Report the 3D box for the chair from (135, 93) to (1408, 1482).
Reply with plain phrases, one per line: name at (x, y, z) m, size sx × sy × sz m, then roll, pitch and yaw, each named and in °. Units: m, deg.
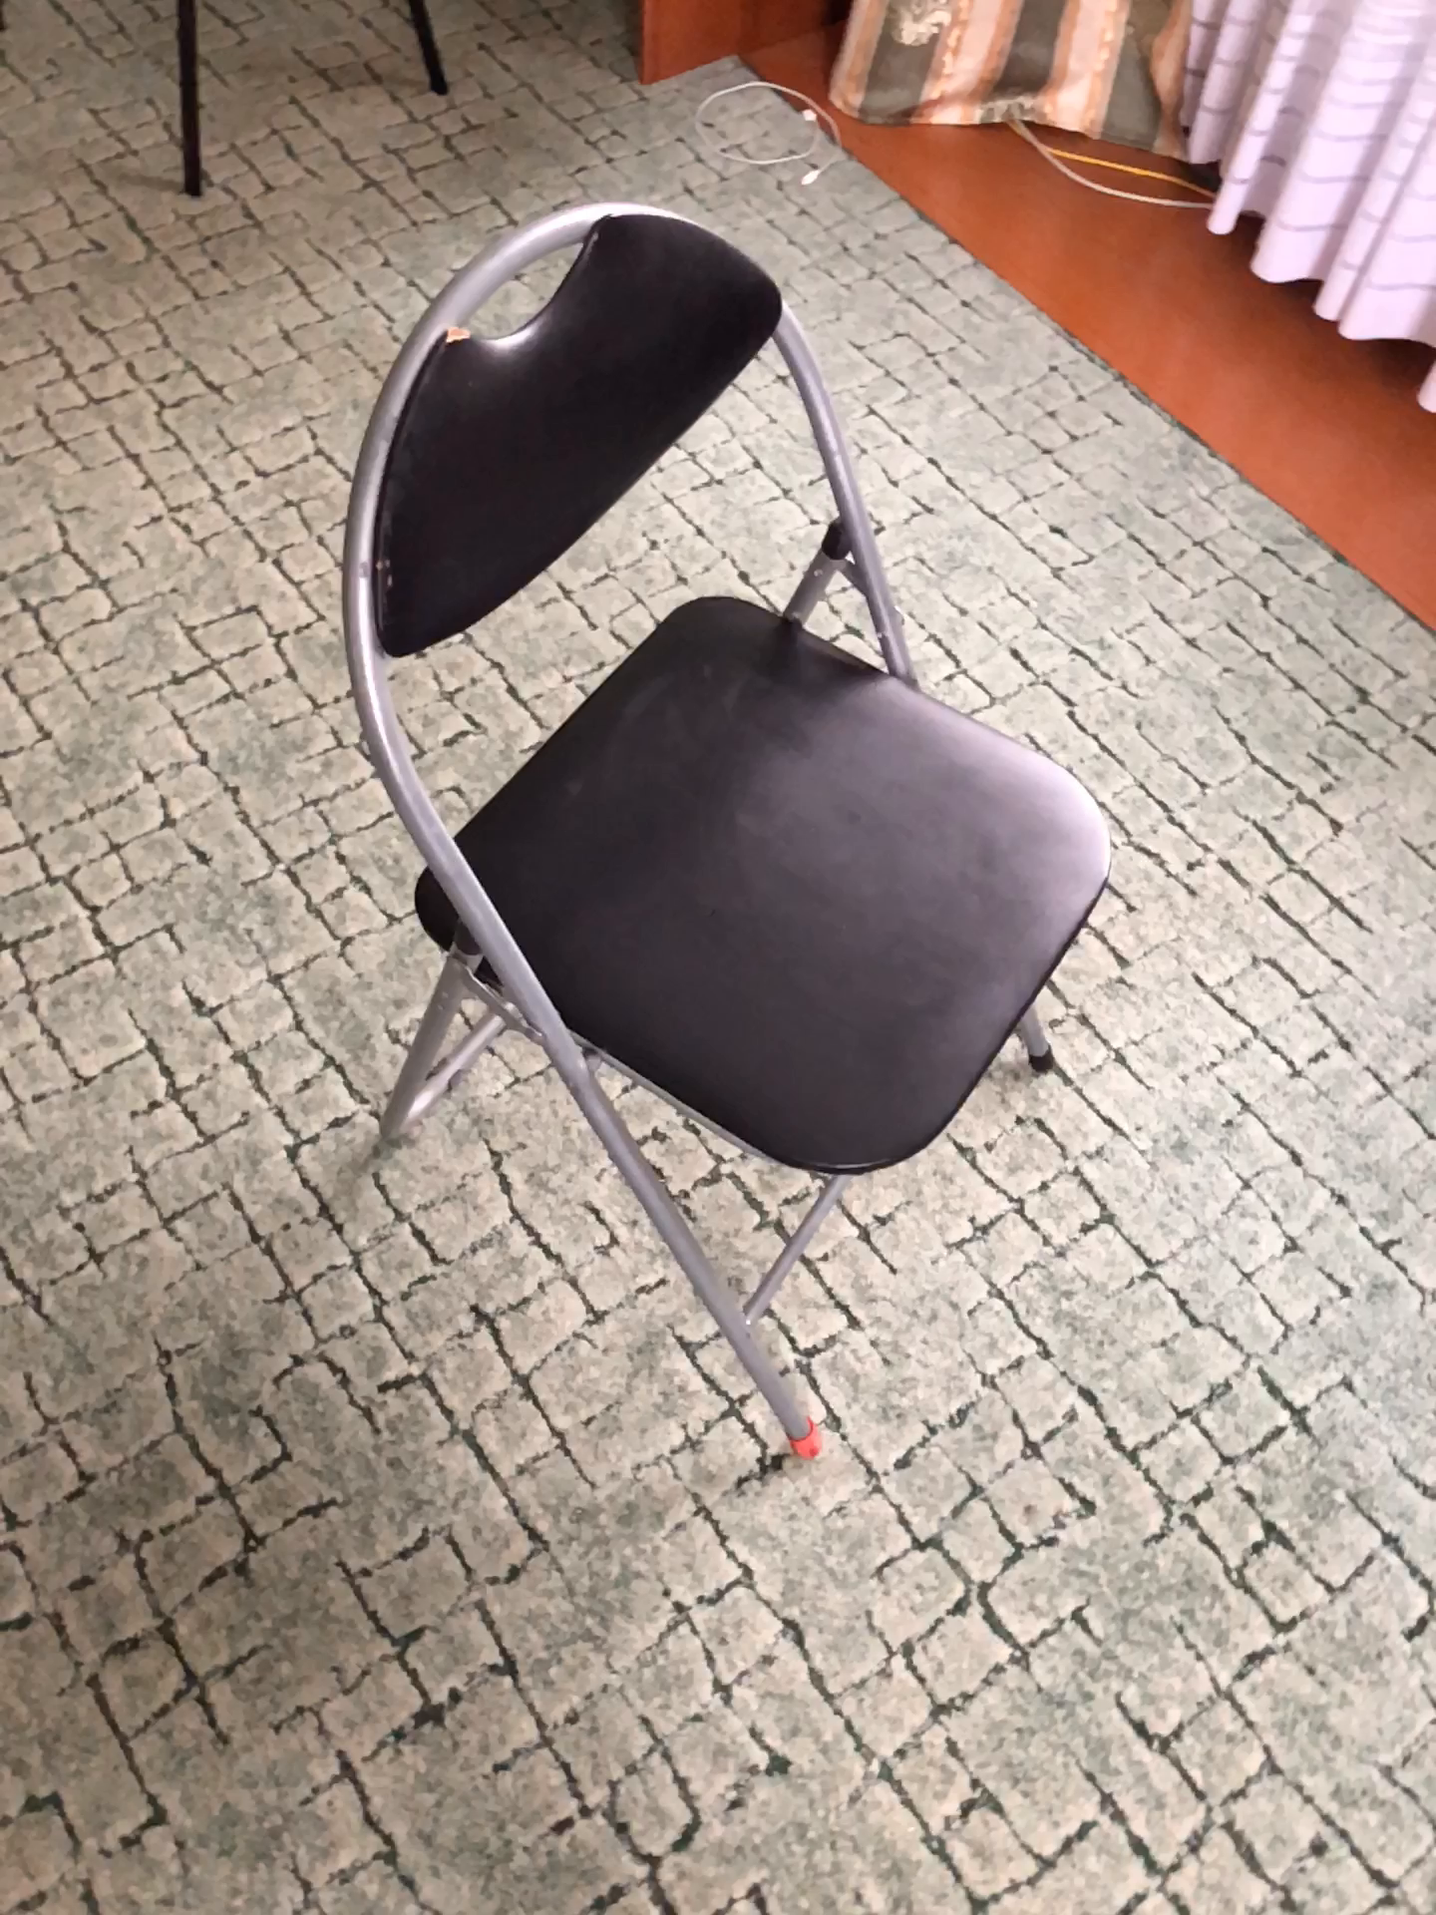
chair at (0.024, -0.059, 1.100) m, size 0.475 × 0.733 × 0.458 m, roll 30°, pitch 60°, yaw 14°
